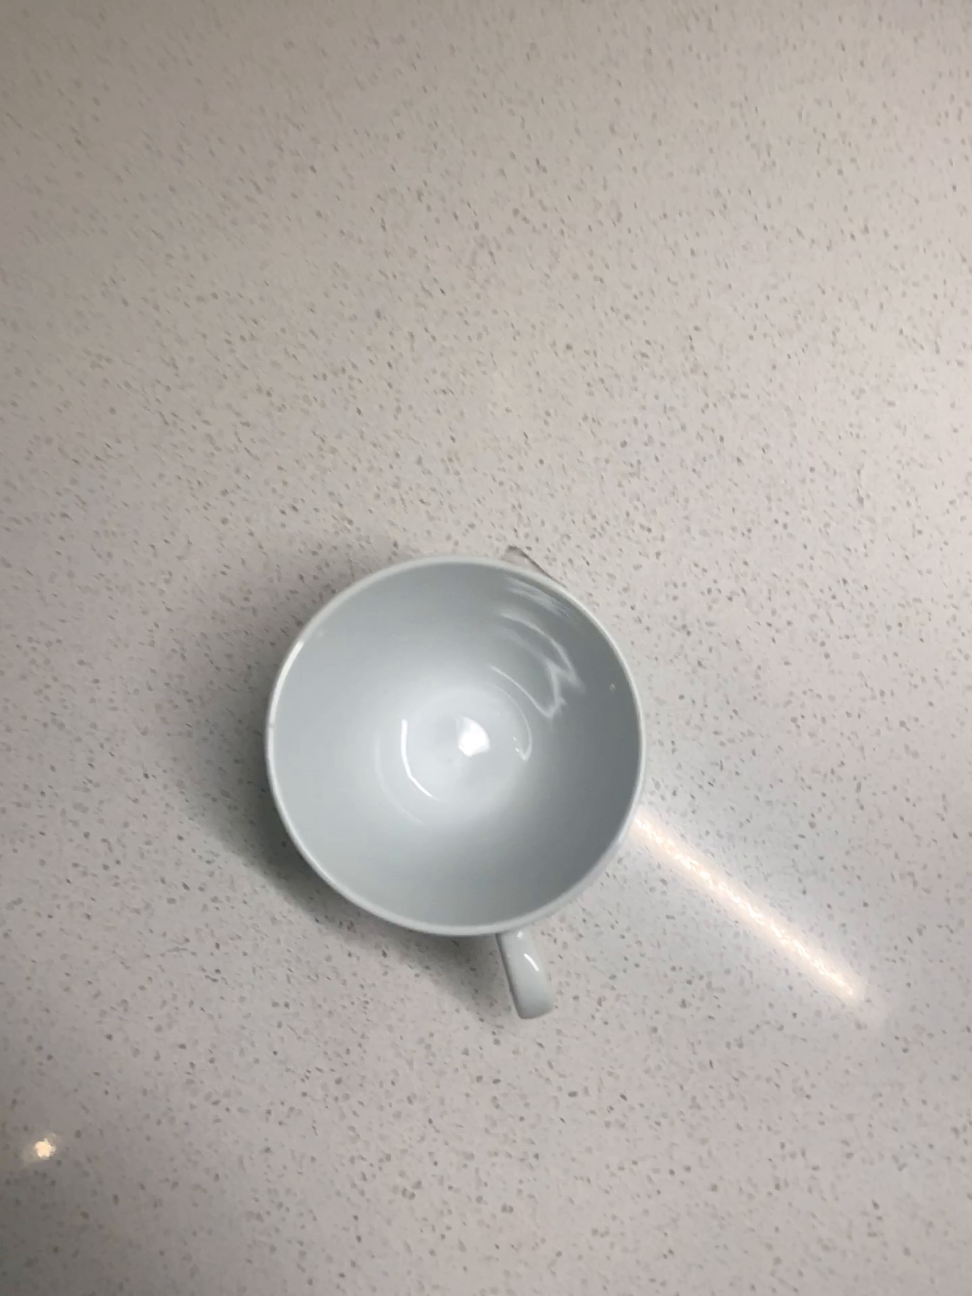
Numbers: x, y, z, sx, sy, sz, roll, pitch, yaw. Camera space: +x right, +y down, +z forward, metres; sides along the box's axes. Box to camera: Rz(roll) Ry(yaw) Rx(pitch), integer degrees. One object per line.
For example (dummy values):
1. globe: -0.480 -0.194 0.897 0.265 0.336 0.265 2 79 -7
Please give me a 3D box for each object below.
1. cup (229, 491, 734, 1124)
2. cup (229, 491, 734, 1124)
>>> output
1. cup: -0.004 0.038 0.262 0.090 0.050 0.130 -14 81 -5
2. cup: -0.004 0.038 0.262 0.090 0.050 0.130 -14 81 -5
